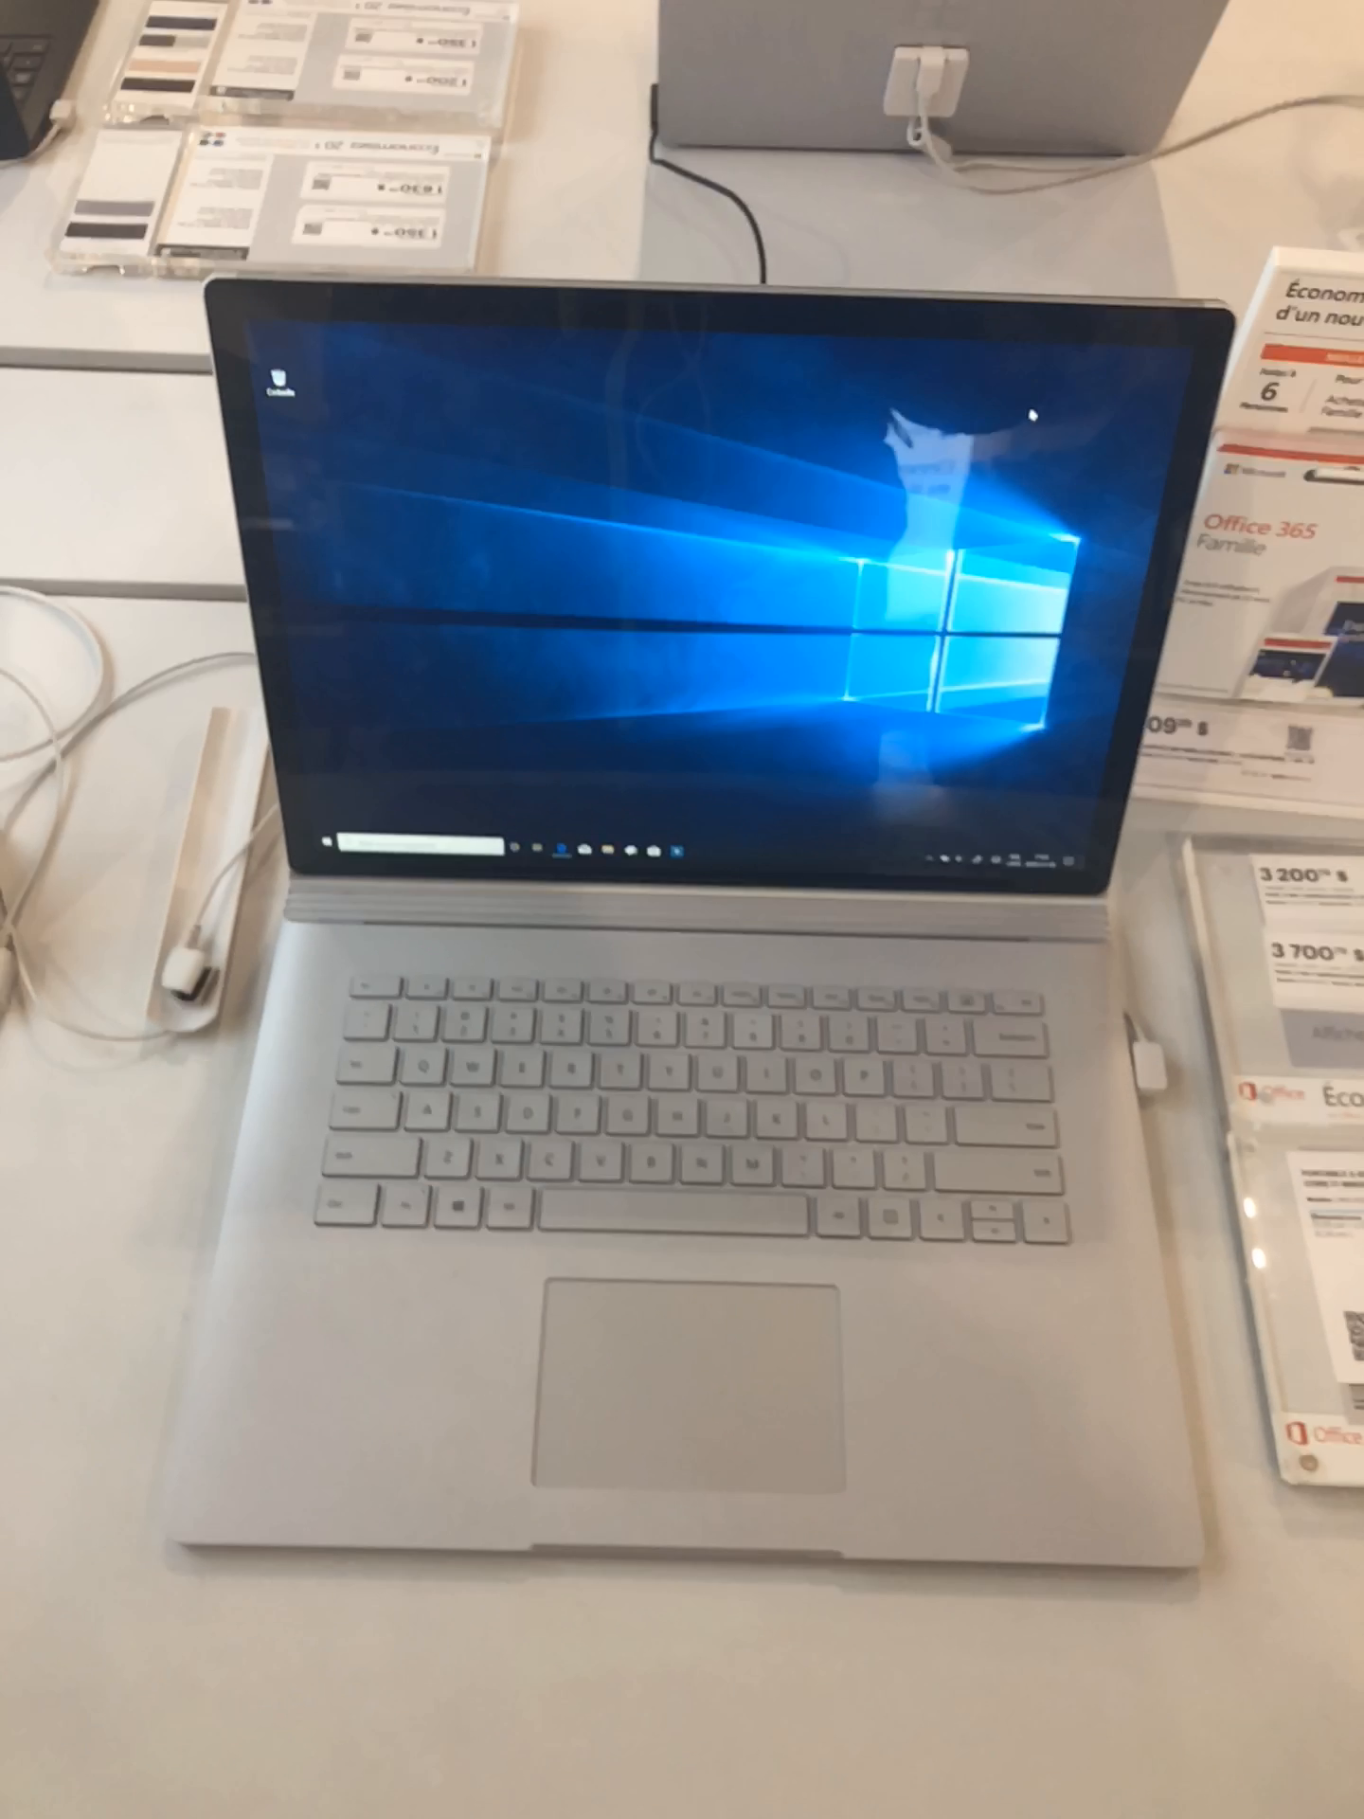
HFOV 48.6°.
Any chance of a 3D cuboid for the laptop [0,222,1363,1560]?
[{"bbox_3d":[0.006,-0.005,0.501,0.338,0.207,0.365,2,60,-1],"label":"laptop"}]
